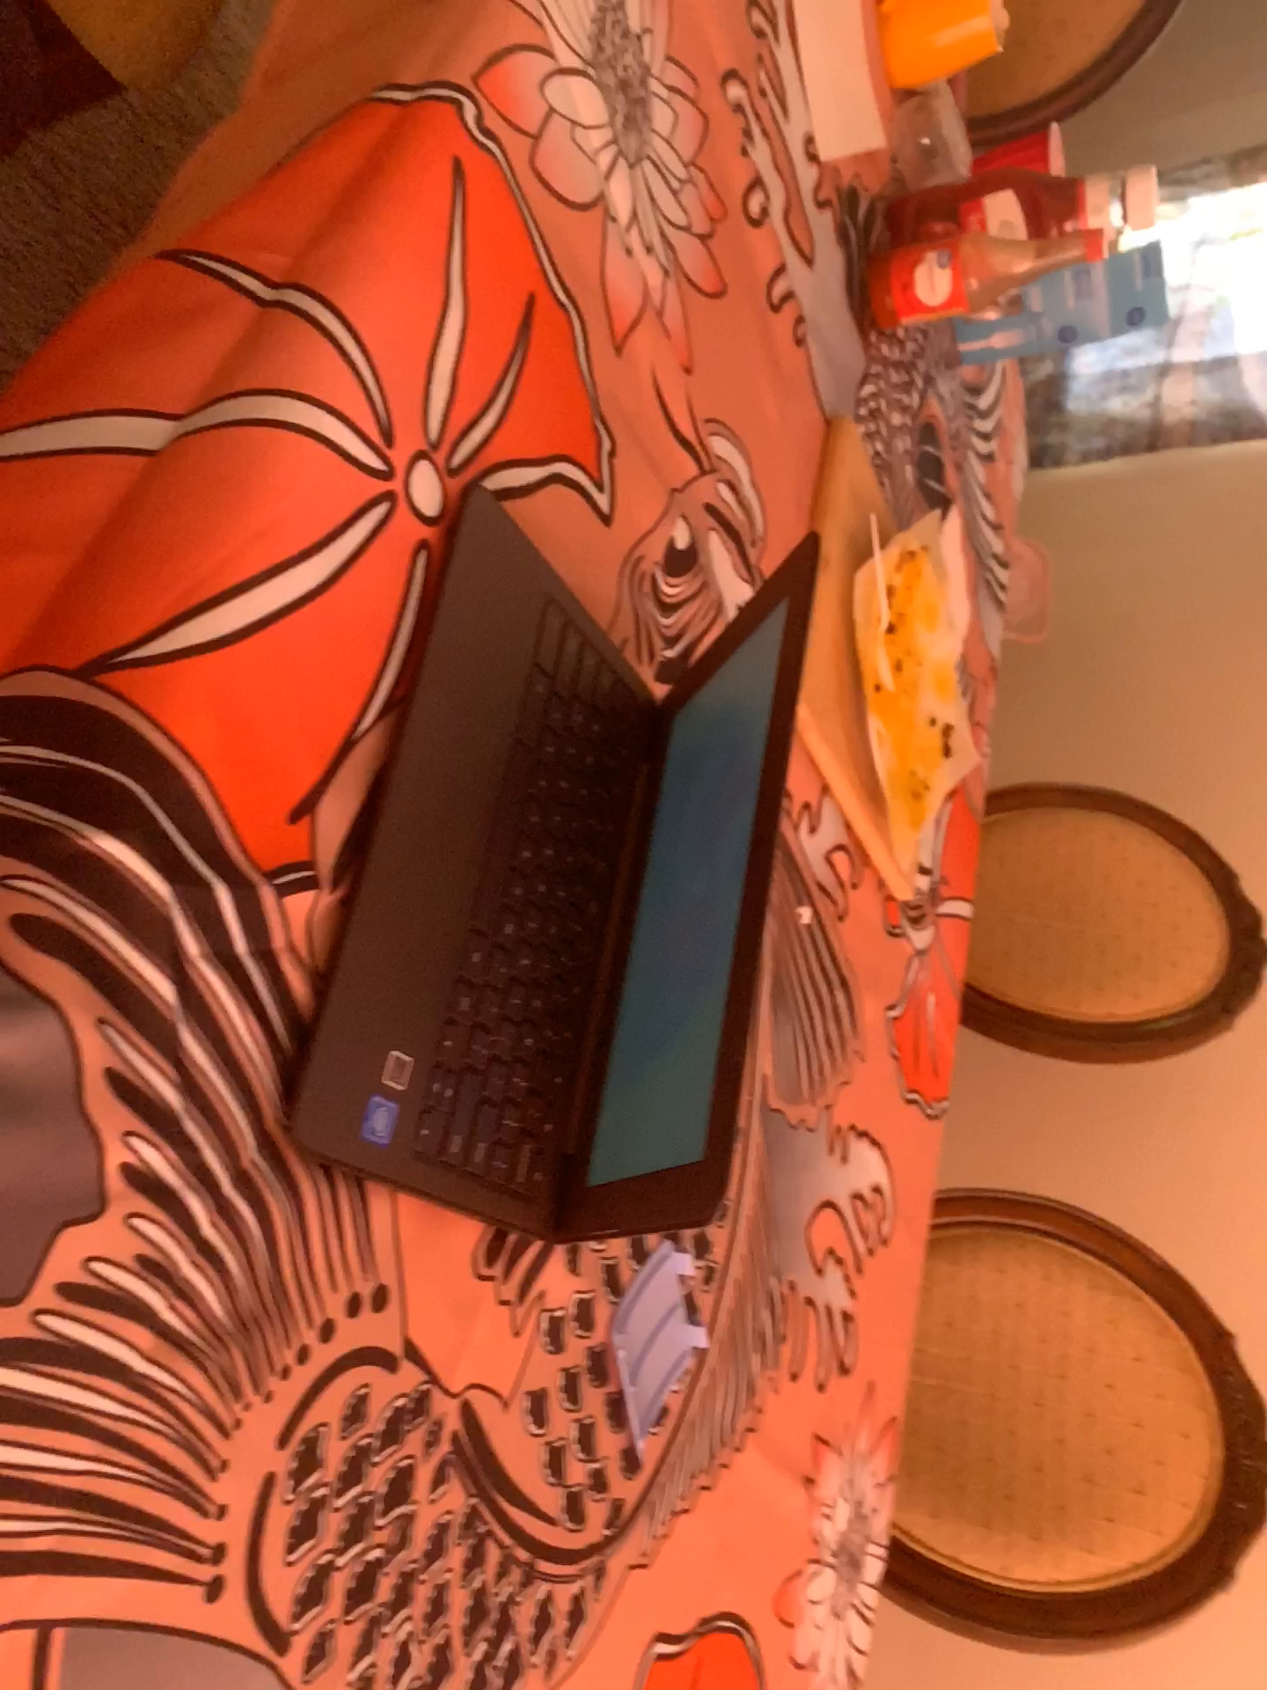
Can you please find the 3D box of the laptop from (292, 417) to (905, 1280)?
[{"bbox_3d":[0.011,0.013,0.578,0.212,0.144,0.300,46,49,-54],"label":"laptop"}]
